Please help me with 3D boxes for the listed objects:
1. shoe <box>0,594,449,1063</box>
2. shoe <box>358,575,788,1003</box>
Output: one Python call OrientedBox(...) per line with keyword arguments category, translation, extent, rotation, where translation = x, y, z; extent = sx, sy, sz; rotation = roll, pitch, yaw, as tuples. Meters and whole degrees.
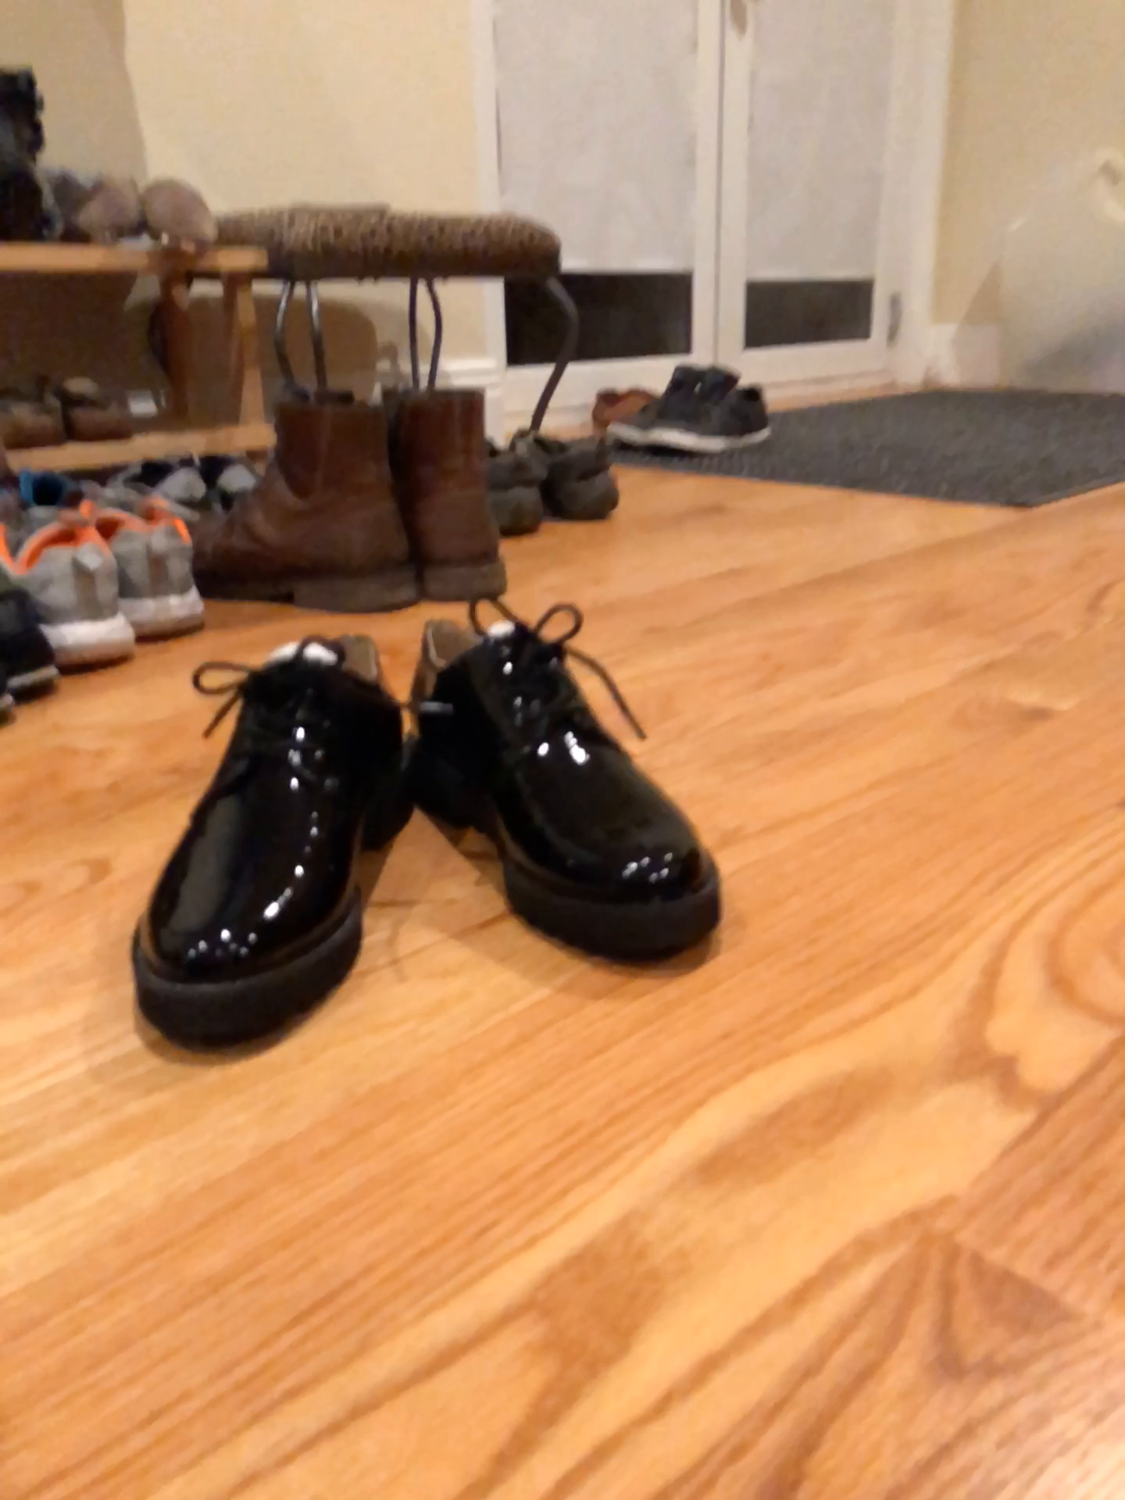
OrientedBox(category="shoe", translation=(-0.124, 0.013, 0.522), extent=(0.095, 0.102, 0.252), rotation=(1, 21, 7))
OrientedBox(category="shoe", translation=(-0.010, -0.001, 0.563), extent=(0.095, 0.102, 0.252), rotation=(-10, 22, -22))
